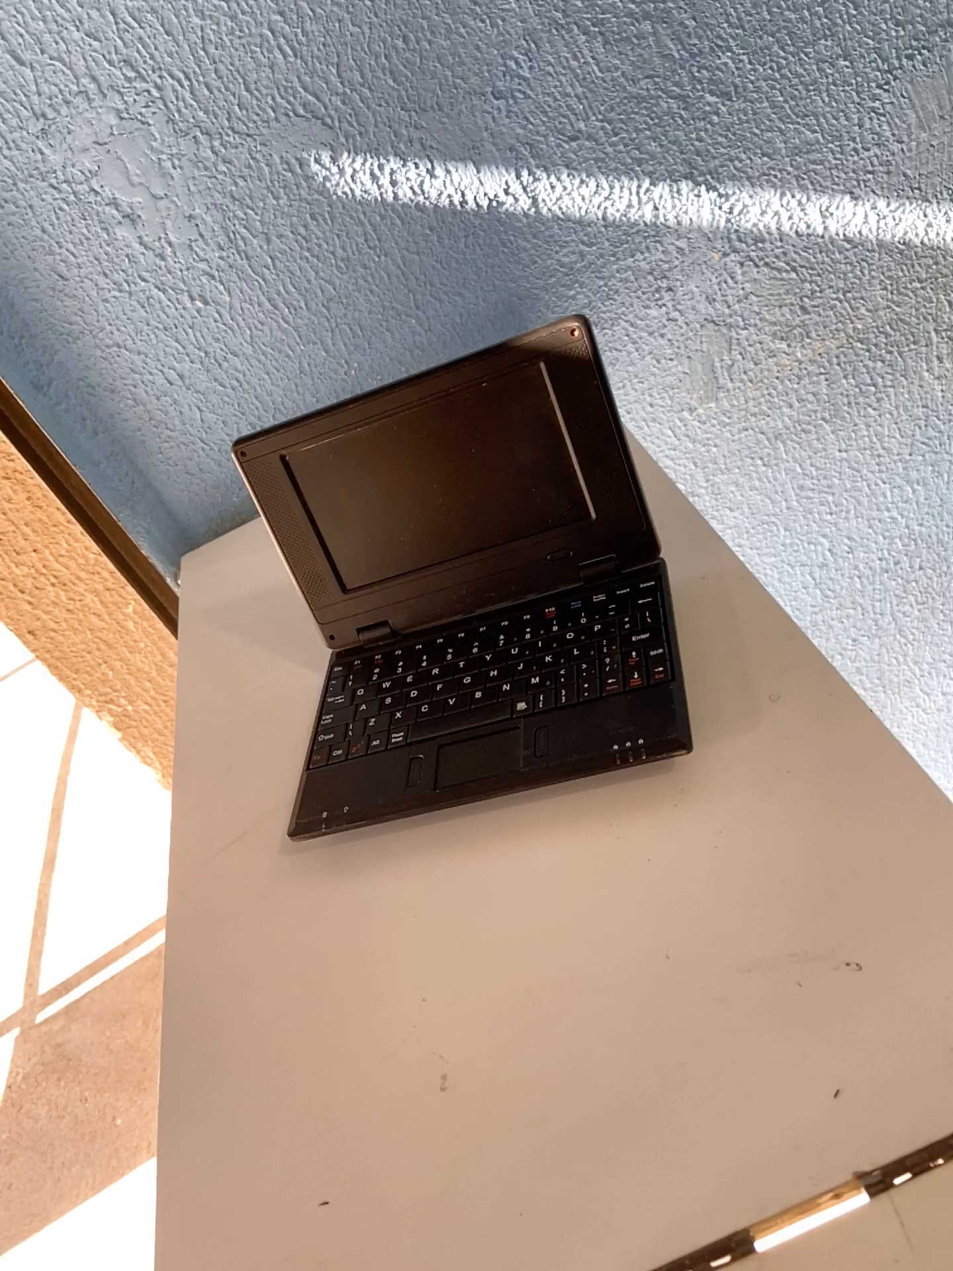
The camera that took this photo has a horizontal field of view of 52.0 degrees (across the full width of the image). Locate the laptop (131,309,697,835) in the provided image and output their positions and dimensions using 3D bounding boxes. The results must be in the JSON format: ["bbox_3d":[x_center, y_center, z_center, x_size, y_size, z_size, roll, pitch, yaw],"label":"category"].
[{"bbox_3d":[-0.022,-0.031,0.504,0.216,0.137,0.180,-15,40,17],"label":"laptop"}]
